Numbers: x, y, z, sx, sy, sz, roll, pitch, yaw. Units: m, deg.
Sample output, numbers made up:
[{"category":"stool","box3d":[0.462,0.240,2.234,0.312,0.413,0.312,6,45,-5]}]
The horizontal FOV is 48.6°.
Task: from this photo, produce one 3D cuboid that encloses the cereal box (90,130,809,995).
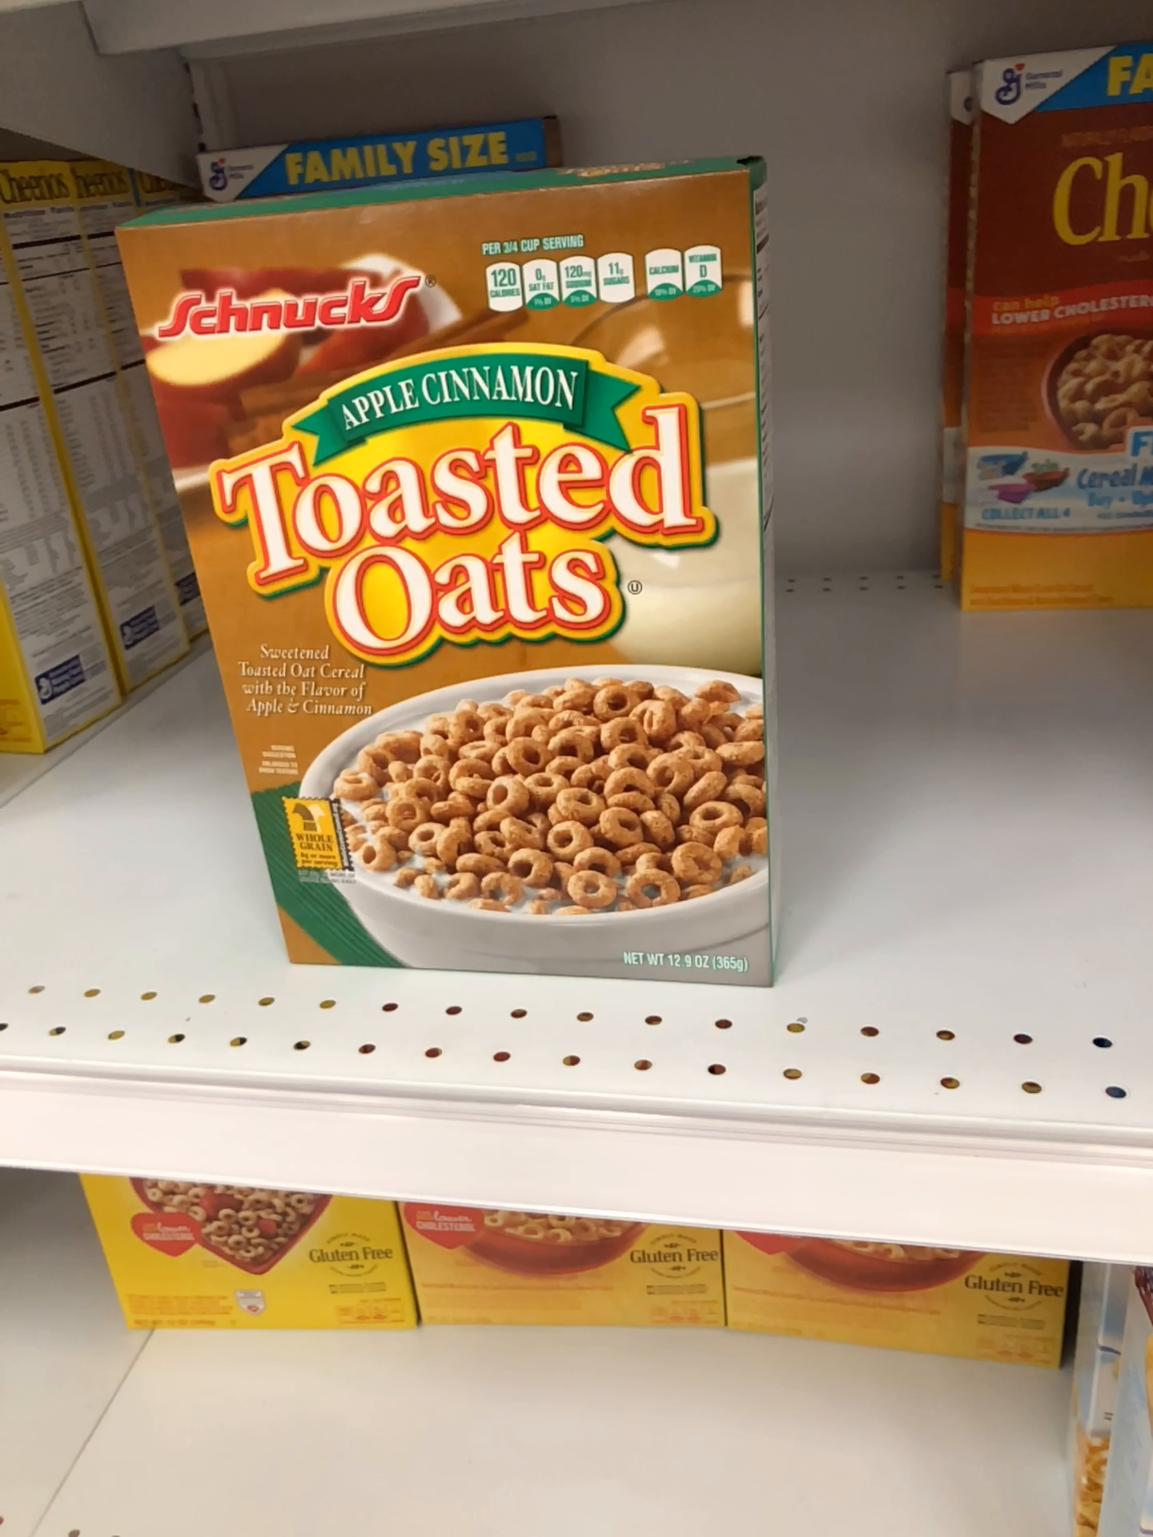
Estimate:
[{"category":"cereal box","box3d":[-0.027,-0.059,0.448,0.210,0.279,0.060,1,27,12]}]
